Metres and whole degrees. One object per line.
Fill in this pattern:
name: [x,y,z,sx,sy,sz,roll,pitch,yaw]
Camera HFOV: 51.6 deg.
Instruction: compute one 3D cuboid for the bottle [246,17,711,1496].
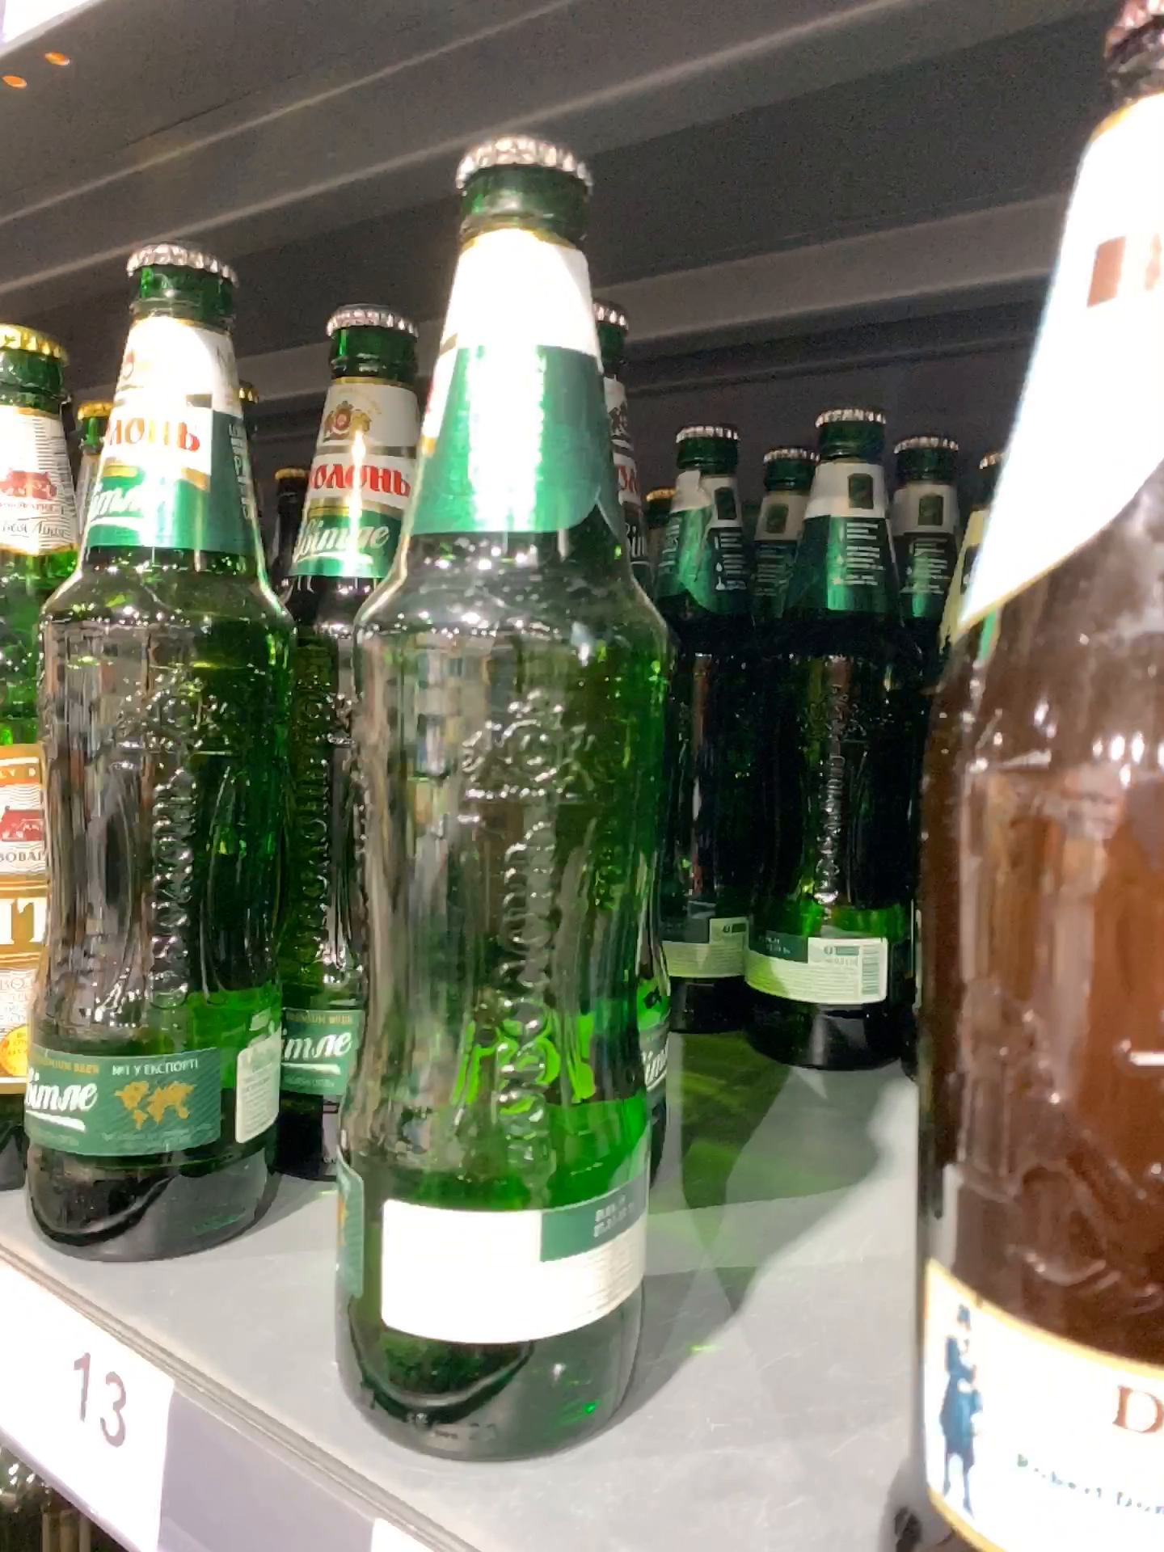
bottle: [-0.019,-0.003,0.254,0.070,0.257,0.073,1,4,0]
